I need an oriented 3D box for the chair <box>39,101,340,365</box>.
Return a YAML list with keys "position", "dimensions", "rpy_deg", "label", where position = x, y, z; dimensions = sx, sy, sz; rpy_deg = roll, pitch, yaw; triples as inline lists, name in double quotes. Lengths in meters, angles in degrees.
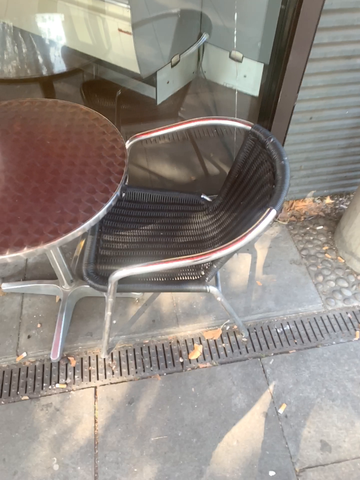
- position: [0.008, -0.012, 1.196]
  dimensions: [0.640, 0.605, 0.605]
  rpy_deg: [-2, 51, -2]
  label: "chair"
